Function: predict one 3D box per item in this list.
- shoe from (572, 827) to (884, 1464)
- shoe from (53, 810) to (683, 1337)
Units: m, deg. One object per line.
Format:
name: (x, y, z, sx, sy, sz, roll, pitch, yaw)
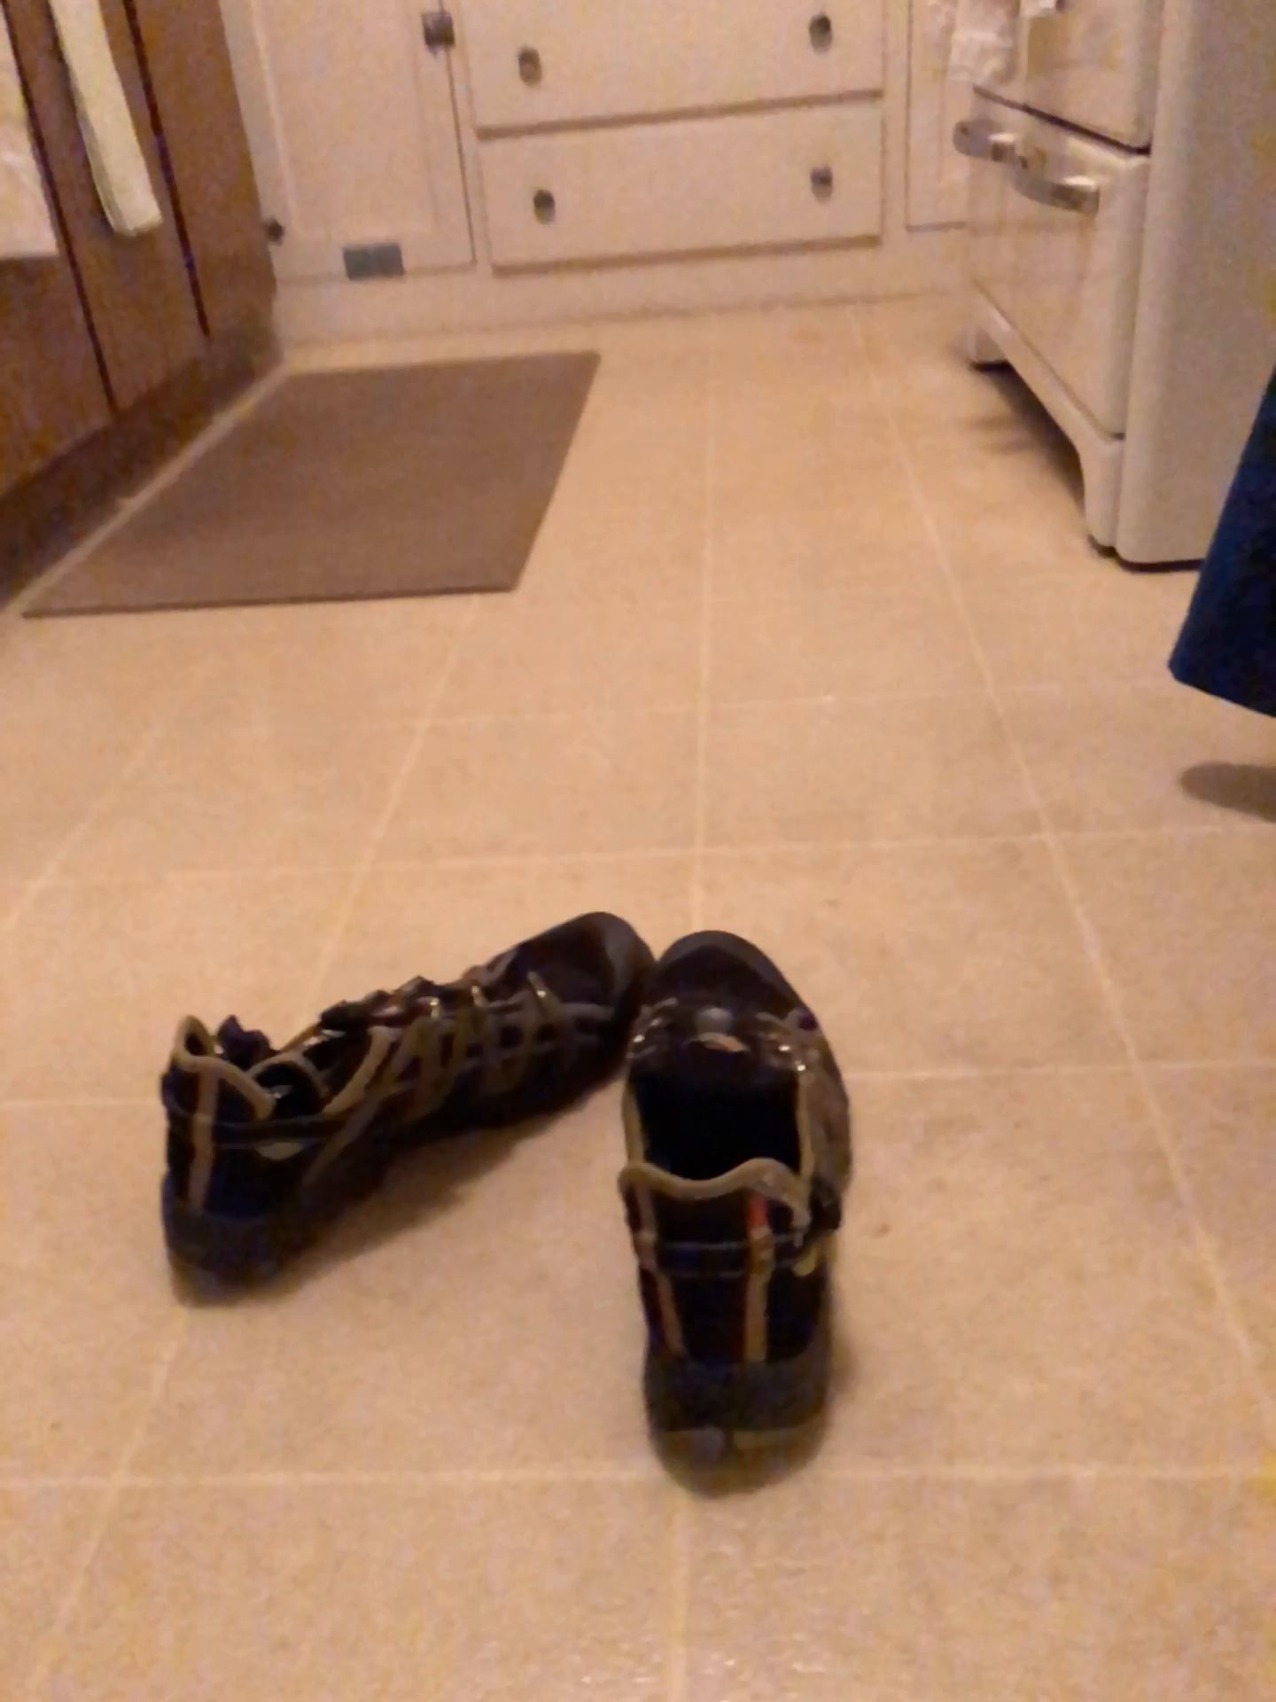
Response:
shoe: (0.037, 0.114, 0.641, 0.109, 0.111, 0.288, -4, 31, 3)
shoe: (-0.119, 0.096, 0.695, 0.280, 0.109, 0.100, -26, 37, -30)
